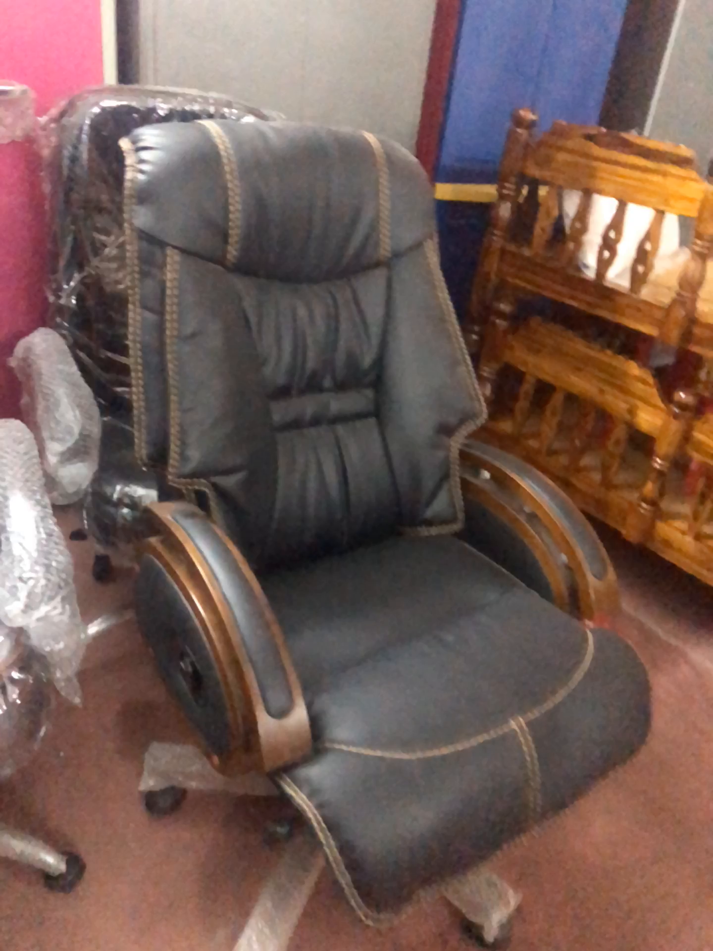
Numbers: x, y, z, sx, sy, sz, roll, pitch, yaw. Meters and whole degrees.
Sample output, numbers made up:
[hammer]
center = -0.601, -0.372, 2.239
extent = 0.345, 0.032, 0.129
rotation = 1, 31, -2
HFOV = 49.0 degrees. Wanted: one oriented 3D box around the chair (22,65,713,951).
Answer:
[chair]
center = 0.052, 0.065, 1.077
extent = 0.703, 0.995, 0.791
rotation = -12, 34, -33
